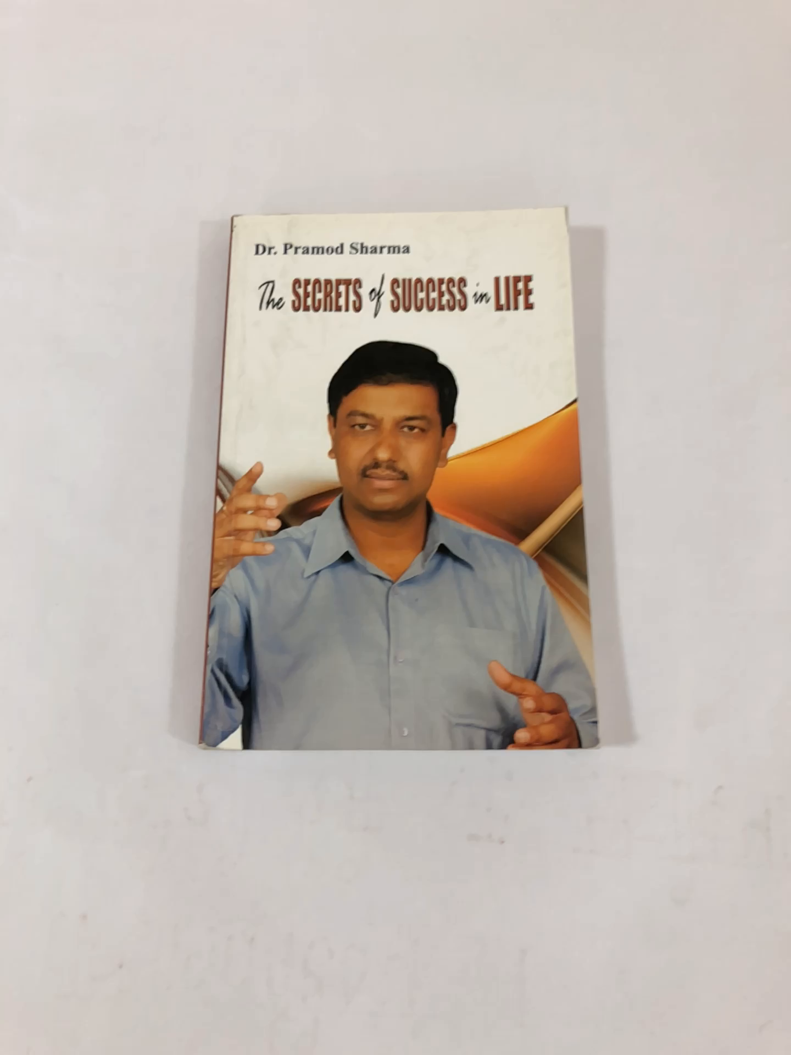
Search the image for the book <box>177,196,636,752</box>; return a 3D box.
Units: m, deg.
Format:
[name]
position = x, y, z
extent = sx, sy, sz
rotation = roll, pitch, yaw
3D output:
[book]
position = 0.002, -0.026, 0.328
extent = 0.150, 0.020, 0.210
rotation = -1, 74, 0
